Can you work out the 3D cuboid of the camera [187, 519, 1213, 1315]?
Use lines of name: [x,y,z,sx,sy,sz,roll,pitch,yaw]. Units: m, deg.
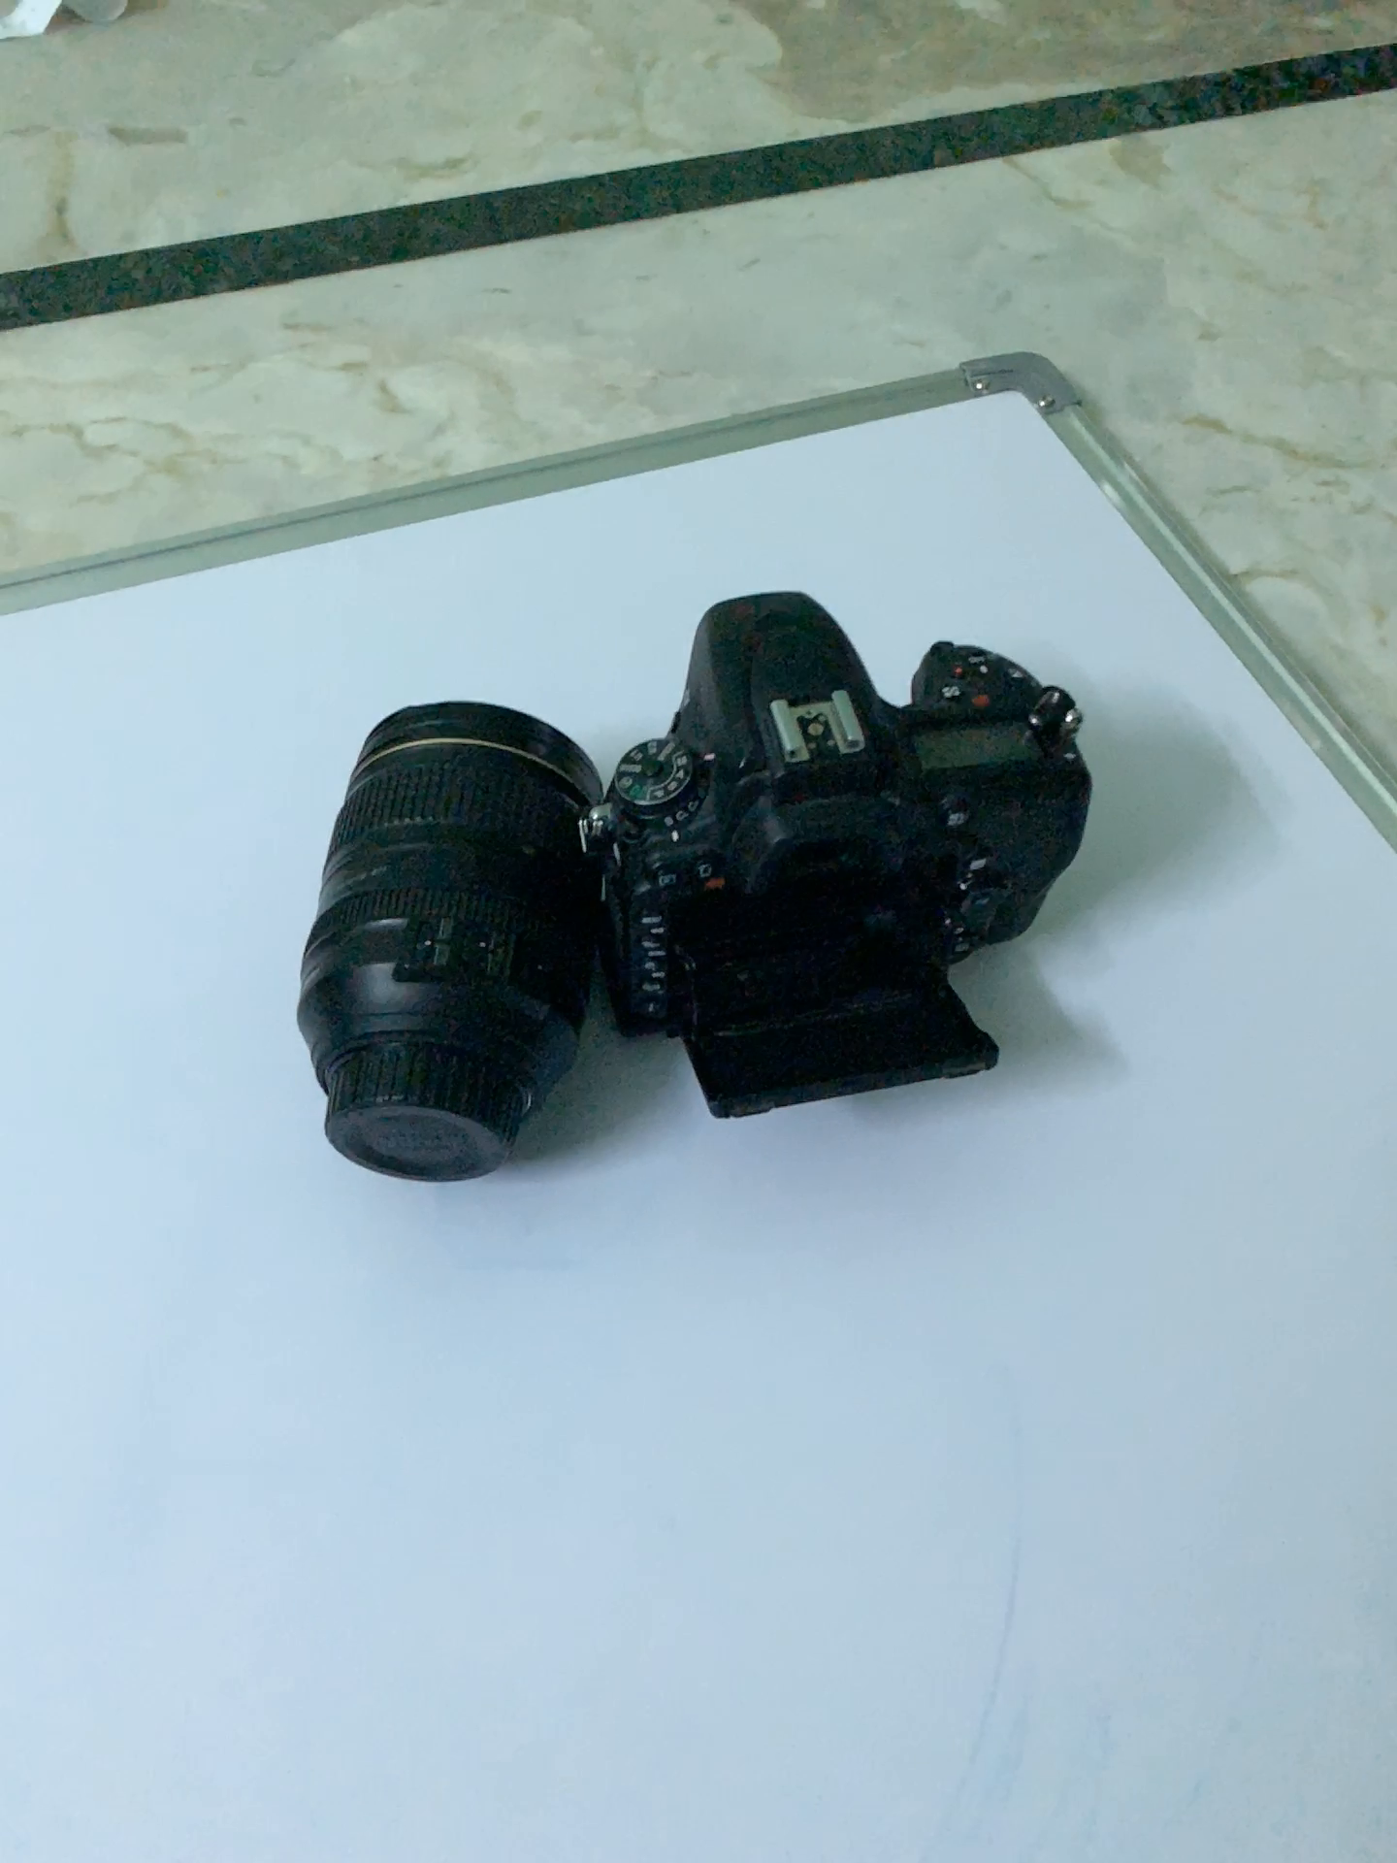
camera: [-0.008,-0.011,0.426,0.240,0.100,0.160,-13,57,-11]
